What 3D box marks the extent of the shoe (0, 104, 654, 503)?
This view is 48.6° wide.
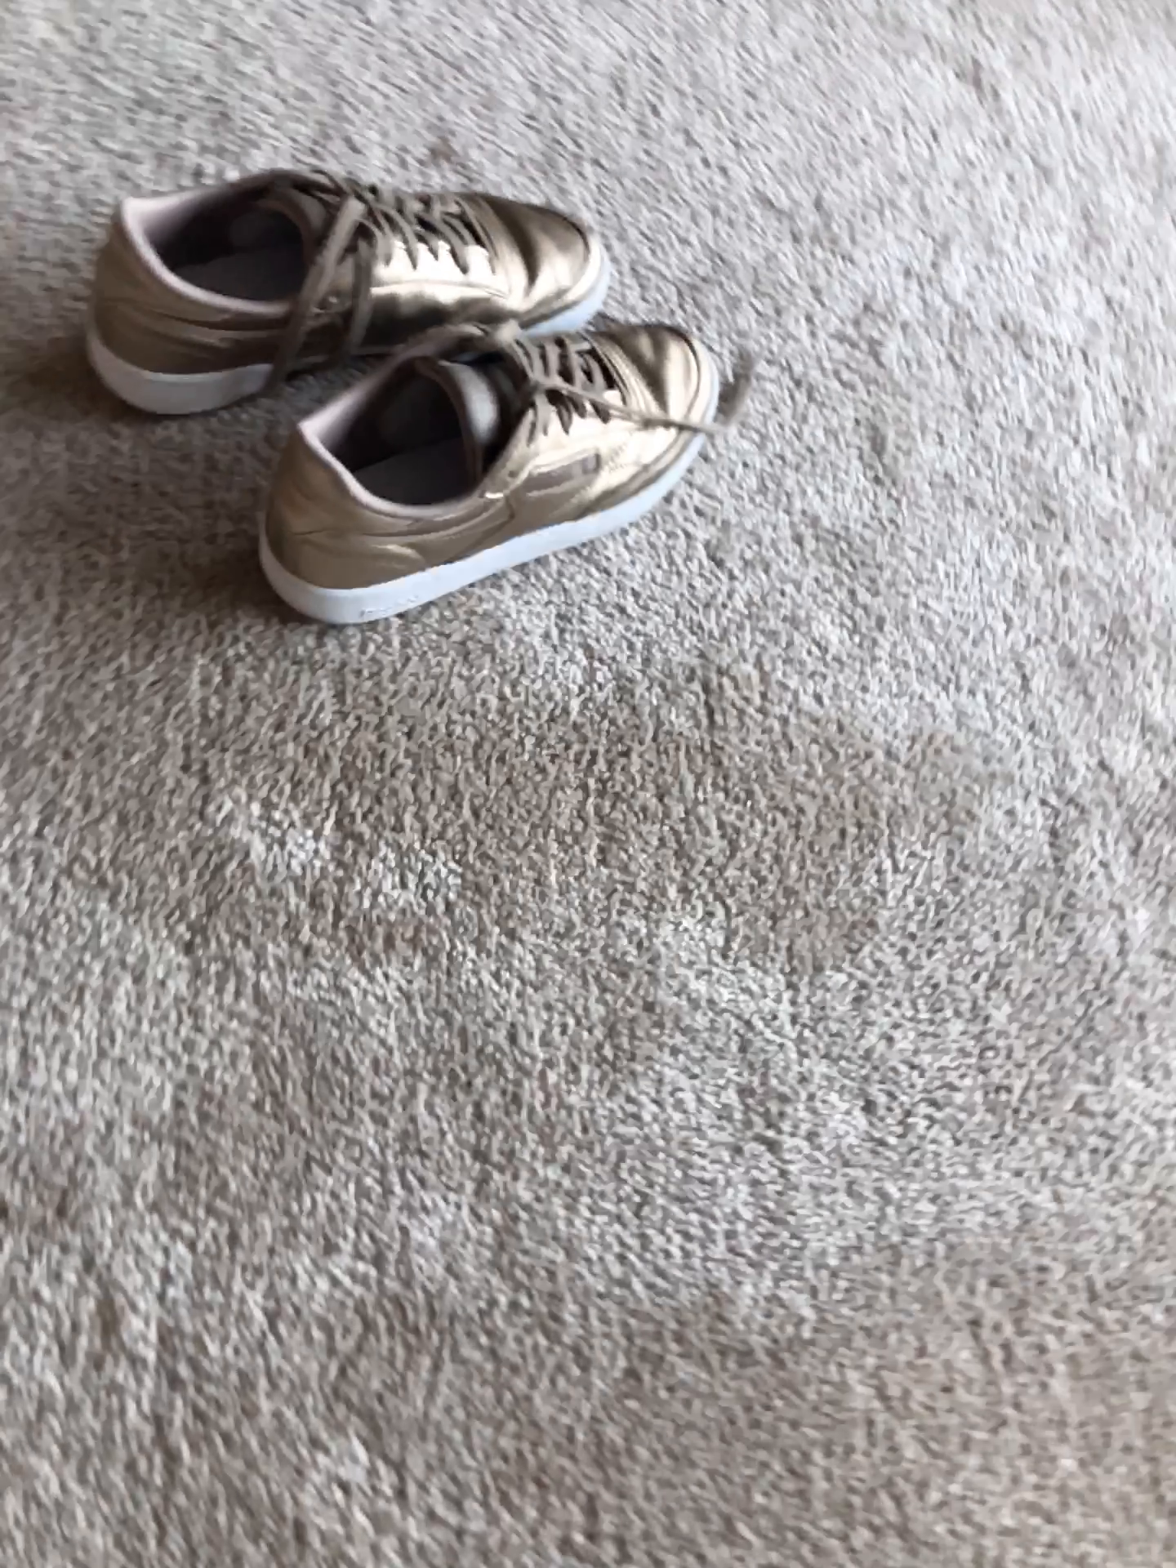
[{"bbox_3d":[-0.122,-0.233,0.617,0.280,0.070,0.110,-21,76,-22],"label":"shoe"}]

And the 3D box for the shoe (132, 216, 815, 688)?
[{"bbox_3d":[-0.046,-0.157,0.593,0.280,0.070,0.110,-26,78,-23],"label":"shoe"}]
